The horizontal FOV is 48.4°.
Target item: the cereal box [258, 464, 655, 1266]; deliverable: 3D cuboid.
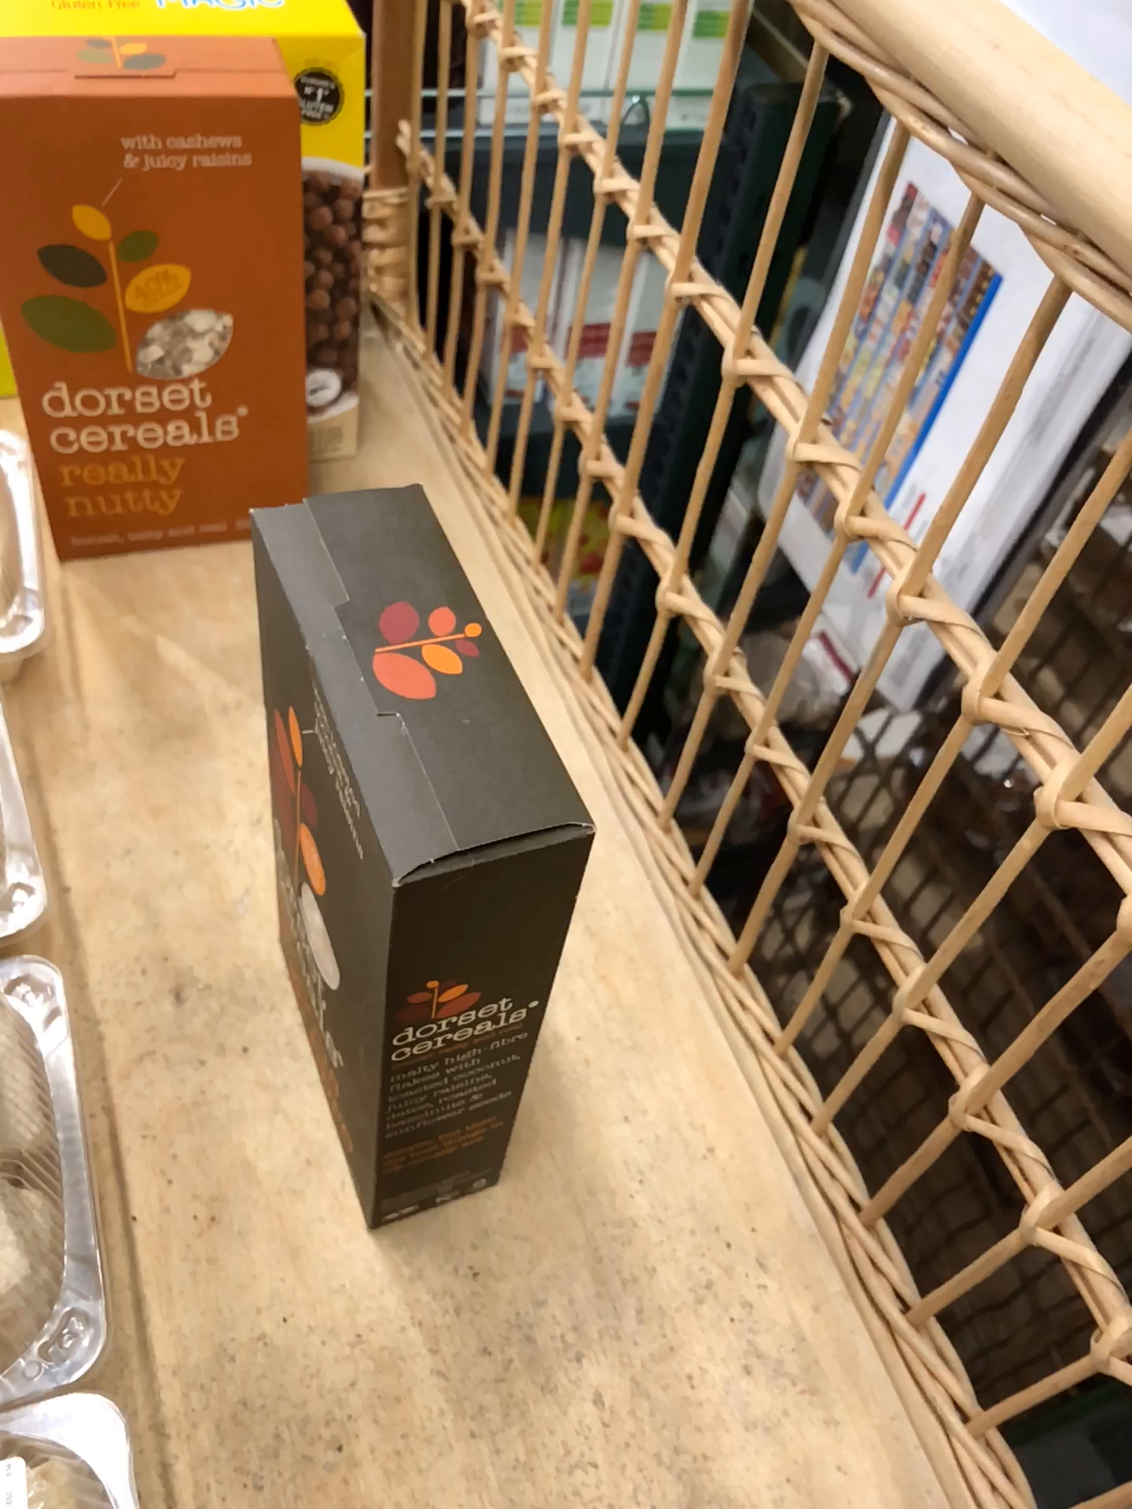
[{"bbox_3d":[-0.046,0.043,0.364,0.050,0.209,0.131,-12,55,-21],"label":"cereal box"}]
